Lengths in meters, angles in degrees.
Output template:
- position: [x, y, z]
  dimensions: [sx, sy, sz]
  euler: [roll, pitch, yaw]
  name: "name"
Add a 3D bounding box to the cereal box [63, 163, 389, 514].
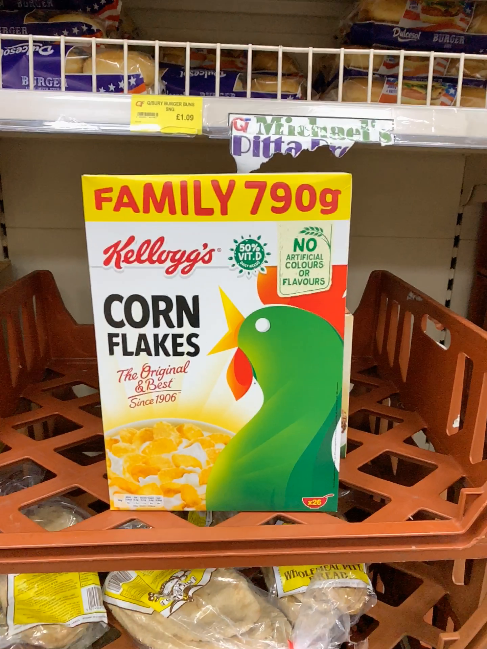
- position: [-0.016, 0.016, 0.506]
  dimensions: [0.270, 0.338, 0.091]
  euler: [1, 16, 0]
  name: "cereal box"
